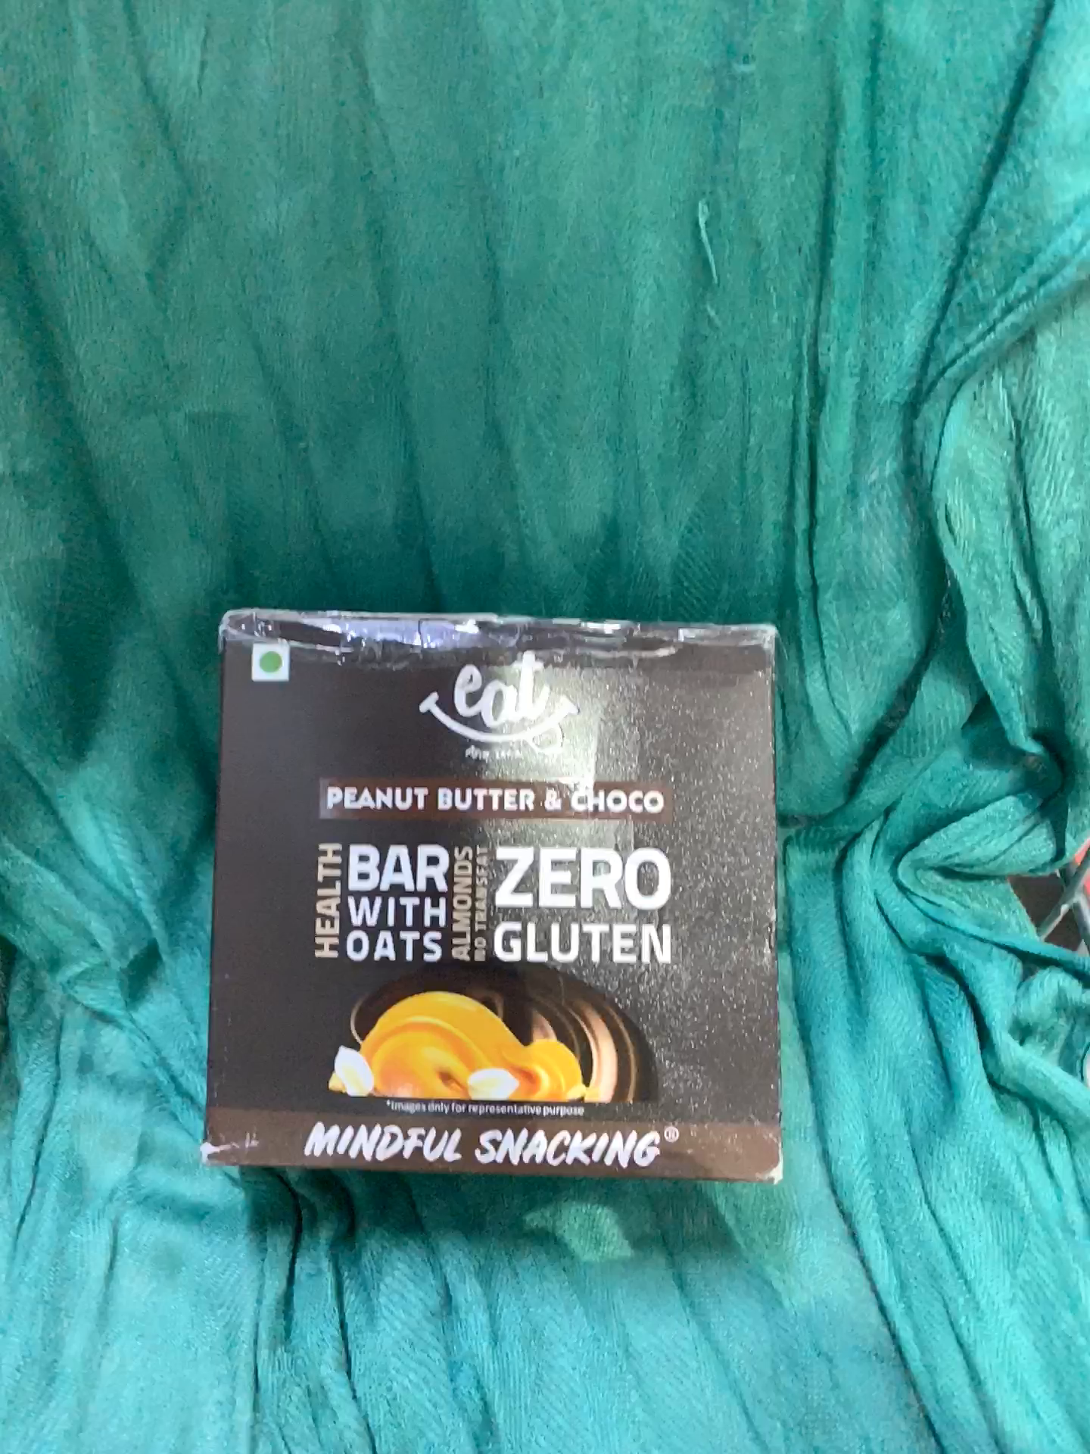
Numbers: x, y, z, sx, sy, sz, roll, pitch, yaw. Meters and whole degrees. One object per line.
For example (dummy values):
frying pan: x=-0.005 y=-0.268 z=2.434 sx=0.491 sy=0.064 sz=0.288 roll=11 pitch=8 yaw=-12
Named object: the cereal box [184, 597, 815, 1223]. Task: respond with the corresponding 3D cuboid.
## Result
cereal box: x=-0.008 y=0.045 z=0.304 sx=0.140 sy=0.090 sz=0.140 roll=1 pitch=82 yaw=2
